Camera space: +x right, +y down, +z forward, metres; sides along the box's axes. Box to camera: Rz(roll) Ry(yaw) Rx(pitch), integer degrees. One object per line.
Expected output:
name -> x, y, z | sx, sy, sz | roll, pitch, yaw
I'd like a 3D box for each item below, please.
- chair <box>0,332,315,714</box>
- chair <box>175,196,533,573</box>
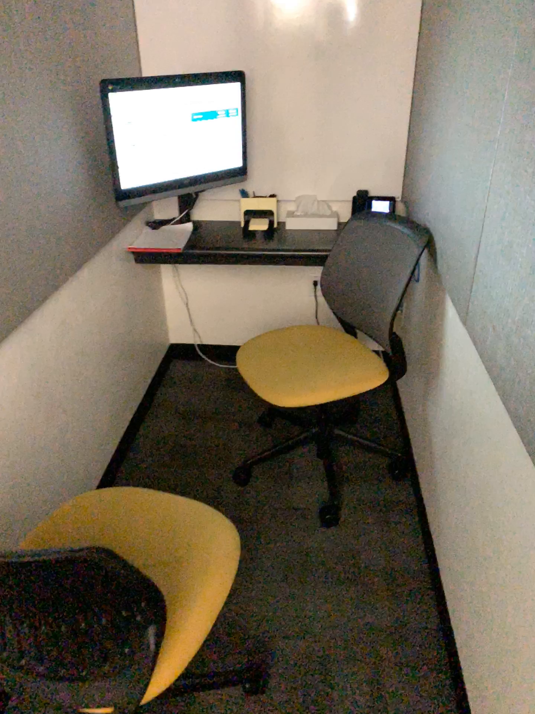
chair -> -0.282, 0.501, 0.969 | 0.551, 0.845, 0.572 | 11, 32, 19
chair -> 0.281, 0.012, 2.276 | 0.950, 1.034, 0.925 | -17, 34, -26
